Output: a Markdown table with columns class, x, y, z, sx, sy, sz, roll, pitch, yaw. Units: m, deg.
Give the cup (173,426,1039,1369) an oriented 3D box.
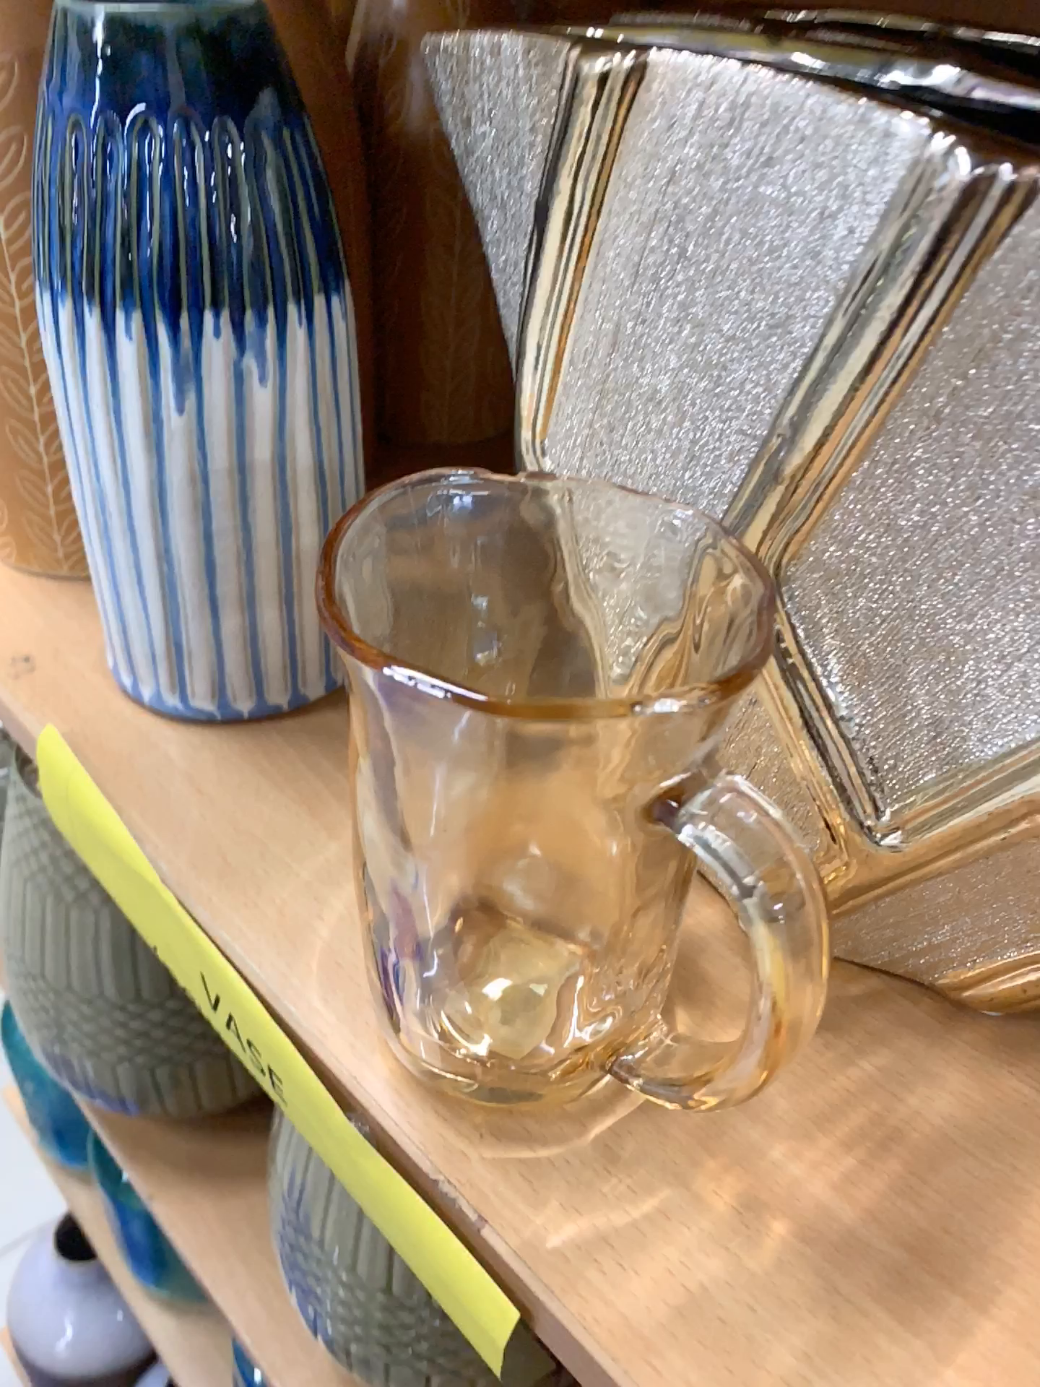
| class | x | y | z | sx | sy | sz | roll | pitch | yaw |
| --- | --- | --- | --- | --- | --- | --- | --- | --- | --- |
| cup | 0.007 | 0.026 | 0.195 | 0.080 | 0.100 | 0.110 | -25 | 45 | -35 |
